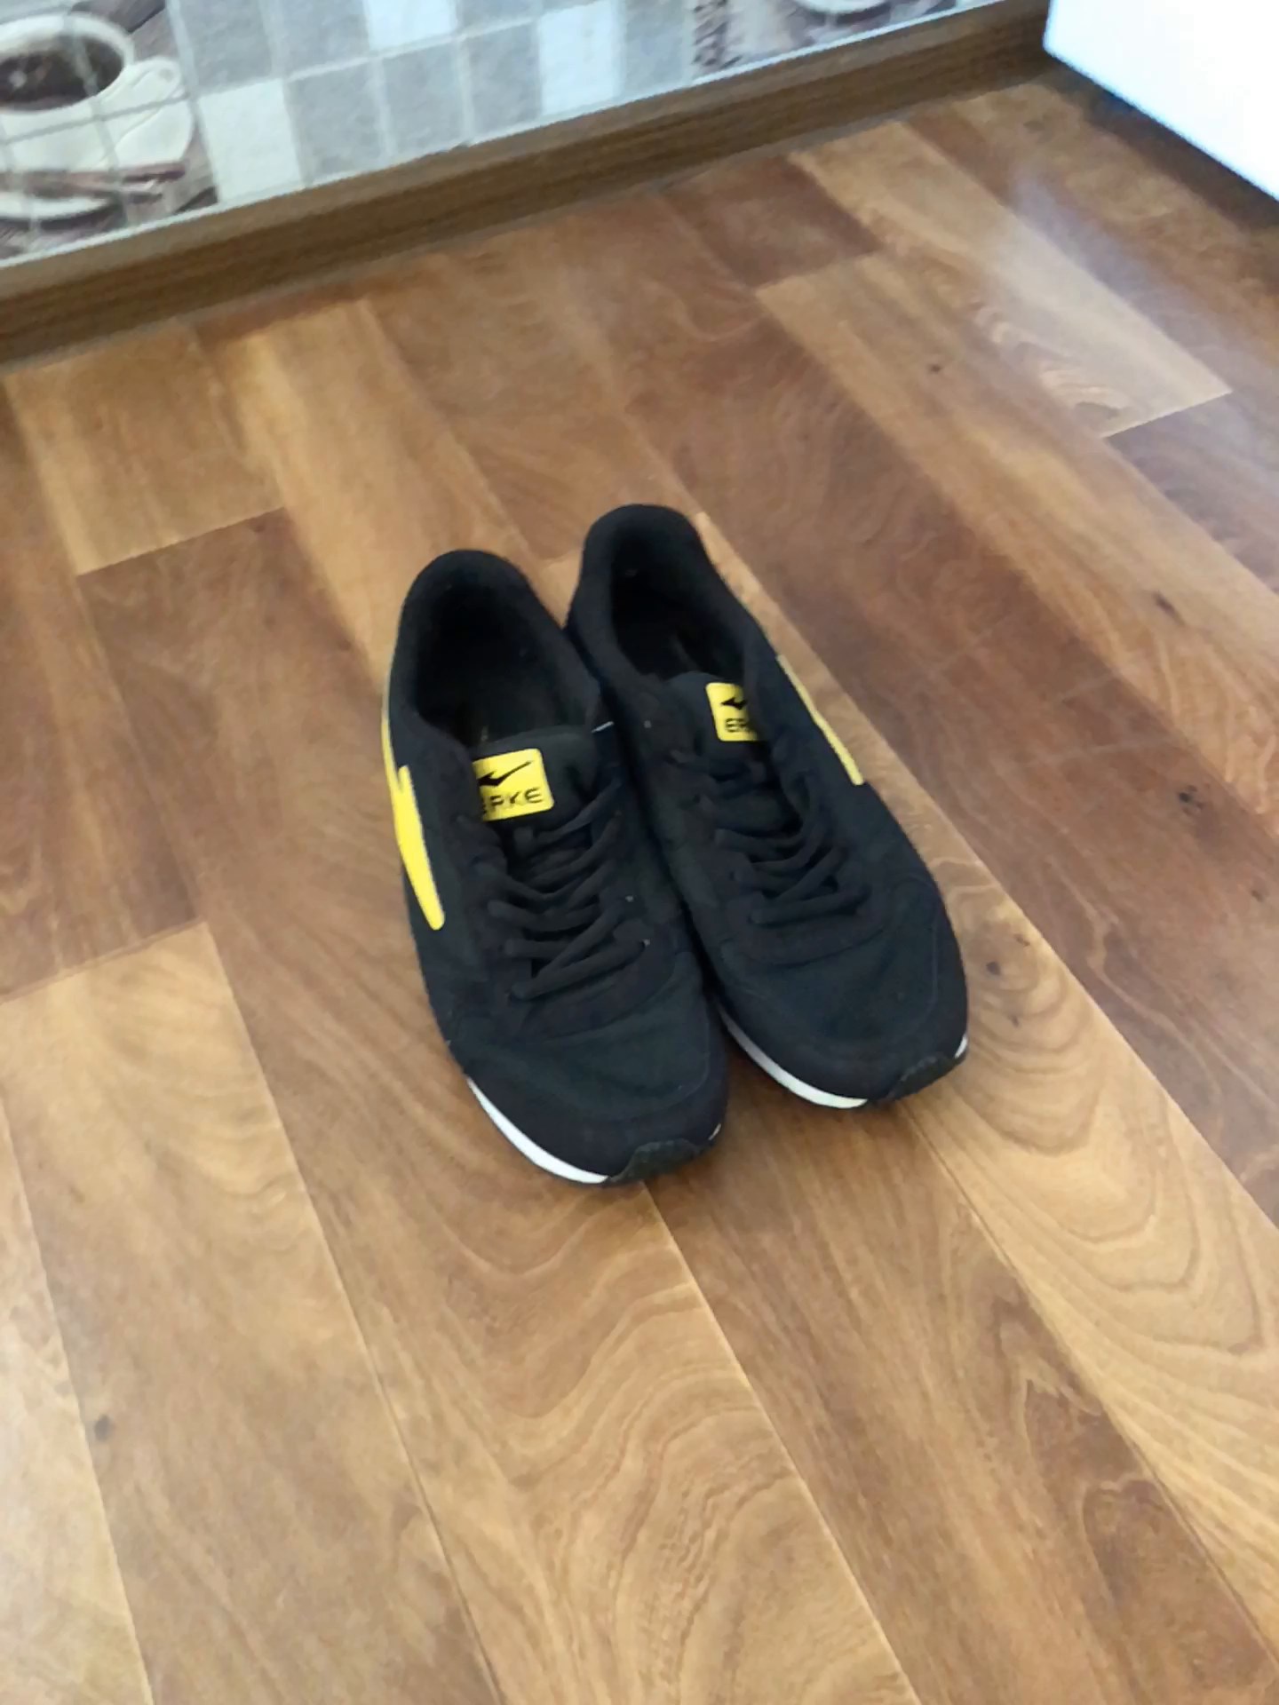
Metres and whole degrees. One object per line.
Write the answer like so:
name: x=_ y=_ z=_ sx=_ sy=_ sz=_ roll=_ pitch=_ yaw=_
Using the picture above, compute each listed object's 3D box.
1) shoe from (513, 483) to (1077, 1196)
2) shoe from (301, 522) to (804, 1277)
shoe: x=0.049 y=-0.022 z=0.601 sx=0.110 sy=0.080 sz=0.302 roll=-18 pitch=56 yaw=-12
shoe: x=-0.046 y=0.003 z=0.578 sx=0.110 sy=0.080 sz=0.302 roll=-17 pitch=55 yaw=-11
